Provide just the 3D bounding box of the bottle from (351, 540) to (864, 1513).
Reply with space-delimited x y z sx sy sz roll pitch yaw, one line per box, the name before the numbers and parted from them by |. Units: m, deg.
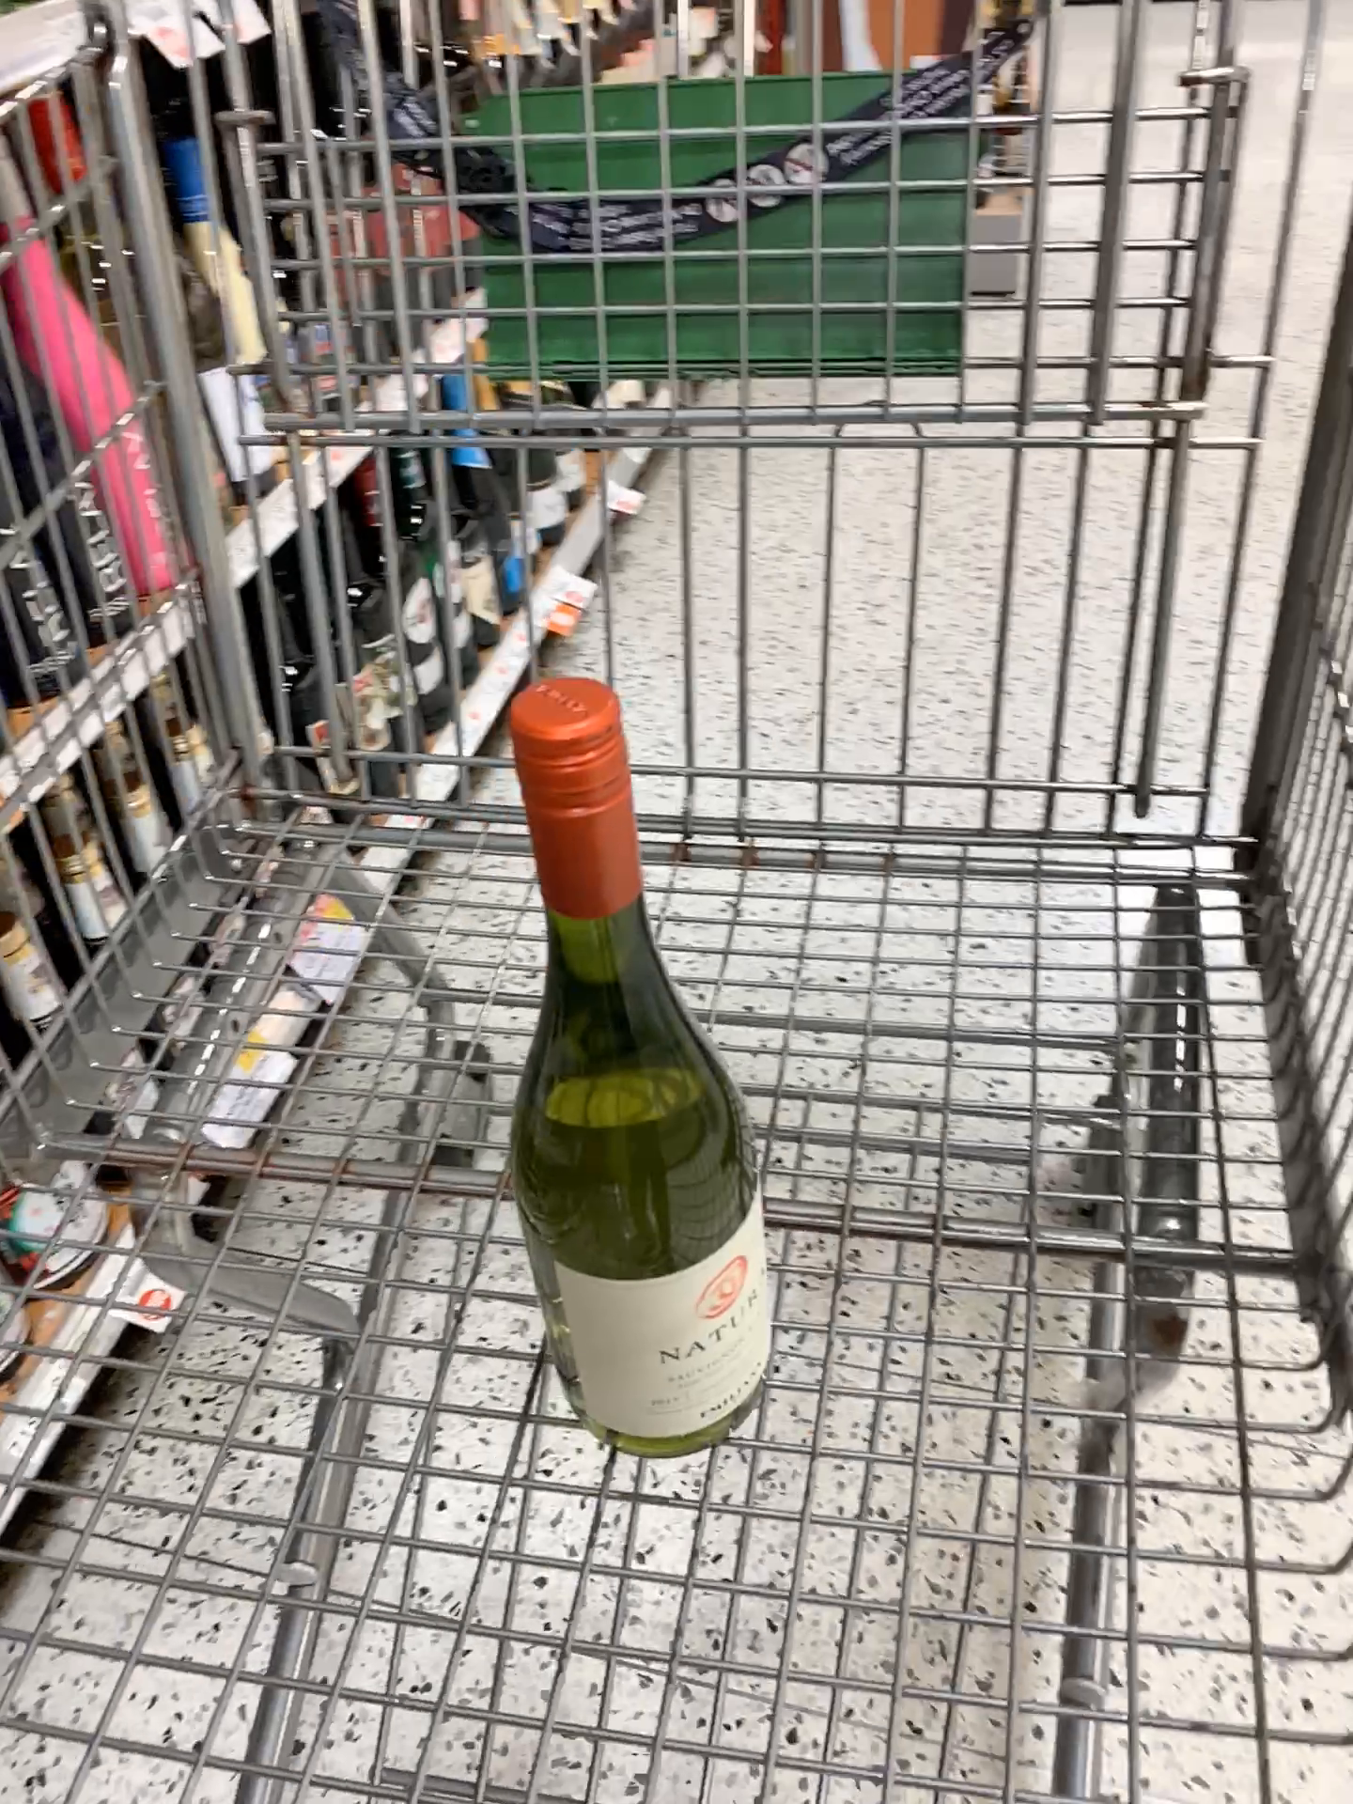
bottle | -0.006 0.056 0.418 0.090 0.297 0.081 -29 46 -24
